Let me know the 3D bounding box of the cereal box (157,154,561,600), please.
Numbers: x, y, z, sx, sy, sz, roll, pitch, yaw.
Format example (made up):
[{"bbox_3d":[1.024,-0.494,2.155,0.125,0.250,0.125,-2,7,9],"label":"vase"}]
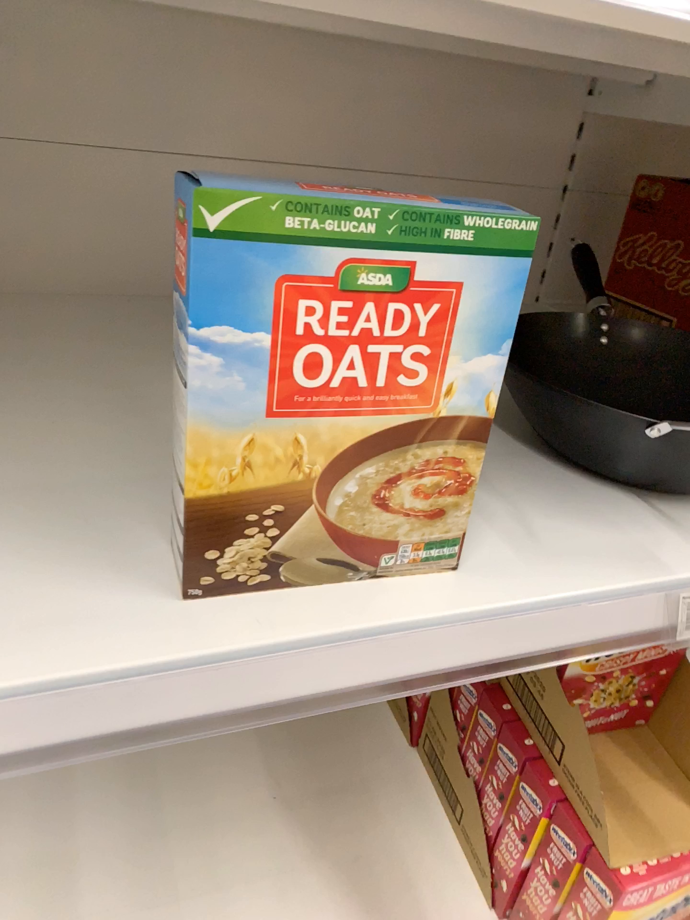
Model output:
[{"bbox_3d":[-0.006,-0.048,0.469,0.220,0.258,0.081,-3,29,-20],"label":"cereal box"}]
